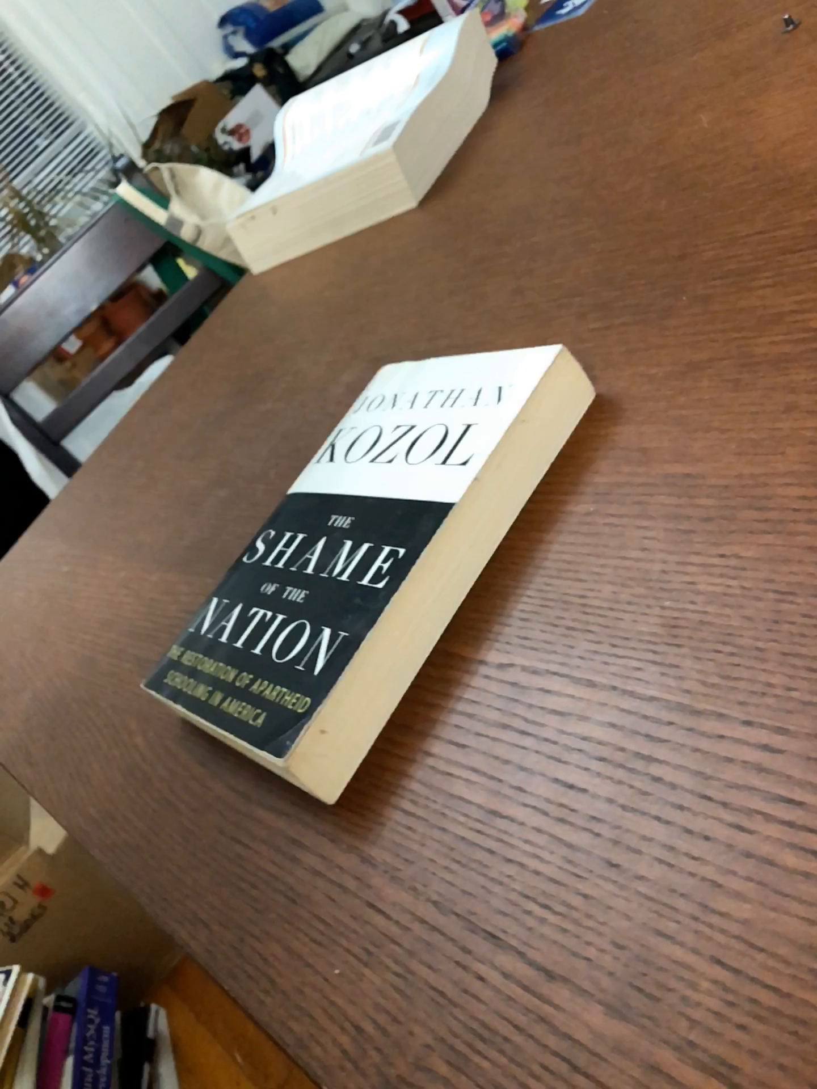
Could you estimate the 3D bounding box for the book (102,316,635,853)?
[{"bbox_3d":[-0.024,-0.002,0.402,0.161,0.030,0.230,9,59,53],"label":"book"}]
